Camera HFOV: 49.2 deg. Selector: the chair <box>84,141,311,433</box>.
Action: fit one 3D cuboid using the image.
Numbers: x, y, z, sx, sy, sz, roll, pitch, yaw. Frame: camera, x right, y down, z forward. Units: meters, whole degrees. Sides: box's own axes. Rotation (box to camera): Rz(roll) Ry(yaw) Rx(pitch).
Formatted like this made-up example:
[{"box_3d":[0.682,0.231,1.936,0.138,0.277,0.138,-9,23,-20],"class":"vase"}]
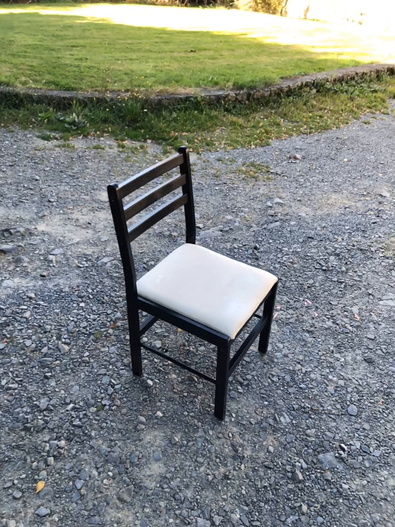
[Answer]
[{"box_3d":[0.001,0.058,1.586,0.530,0.775,0.544,20,37,21],"class":"chair"}]
